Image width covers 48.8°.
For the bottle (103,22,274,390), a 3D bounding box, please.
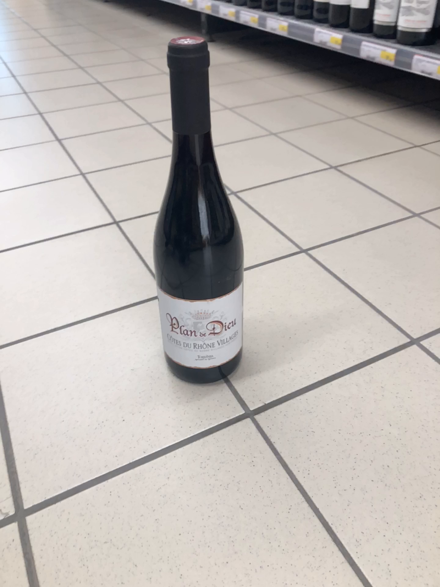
[{"bbox_3d":[-0.013,-0.056,0.408,0.100,0.288,0.101,-1,36,1],"label":"bottle"}]
